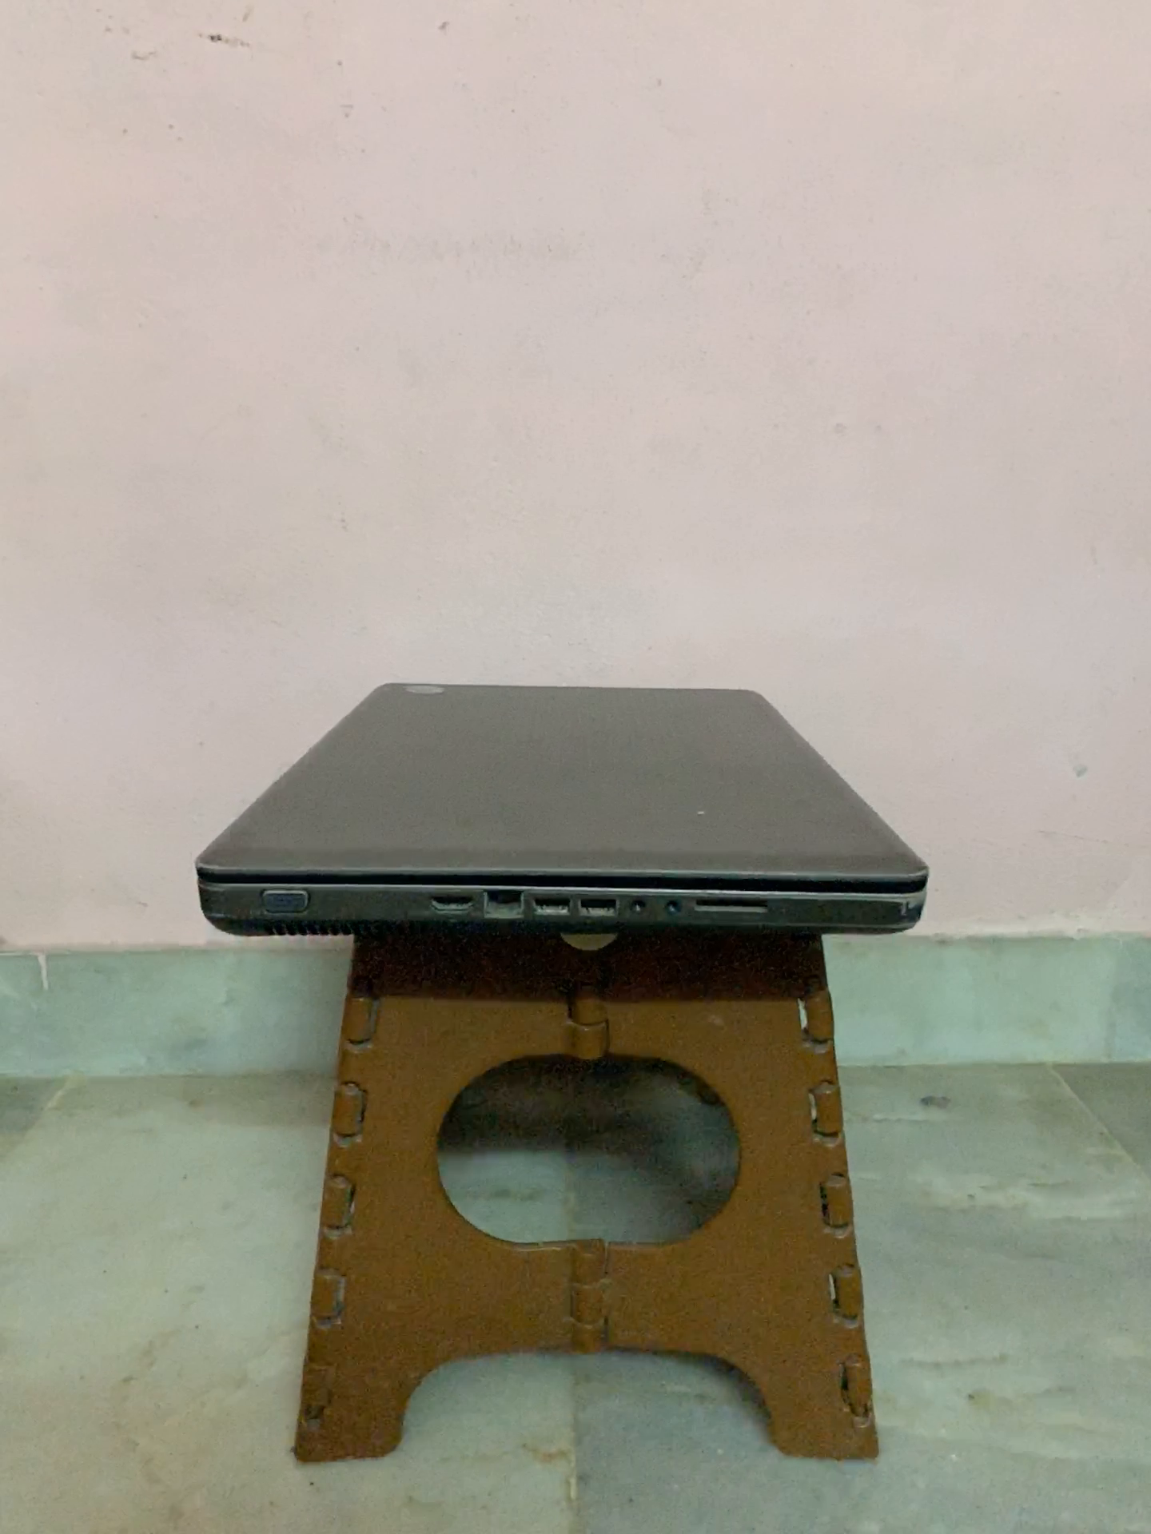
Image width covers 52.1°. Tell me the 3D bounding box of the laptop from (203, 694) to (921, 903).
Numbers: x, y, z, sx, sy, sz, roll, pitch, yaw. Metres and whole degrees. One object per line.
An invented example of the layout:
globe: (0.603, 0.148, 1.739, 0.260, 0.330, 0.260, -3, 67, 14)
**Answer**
laptop: (-0.004, -0.001, 0.582, 0.242, 0.003, 0.380, 1, 13, 0)
